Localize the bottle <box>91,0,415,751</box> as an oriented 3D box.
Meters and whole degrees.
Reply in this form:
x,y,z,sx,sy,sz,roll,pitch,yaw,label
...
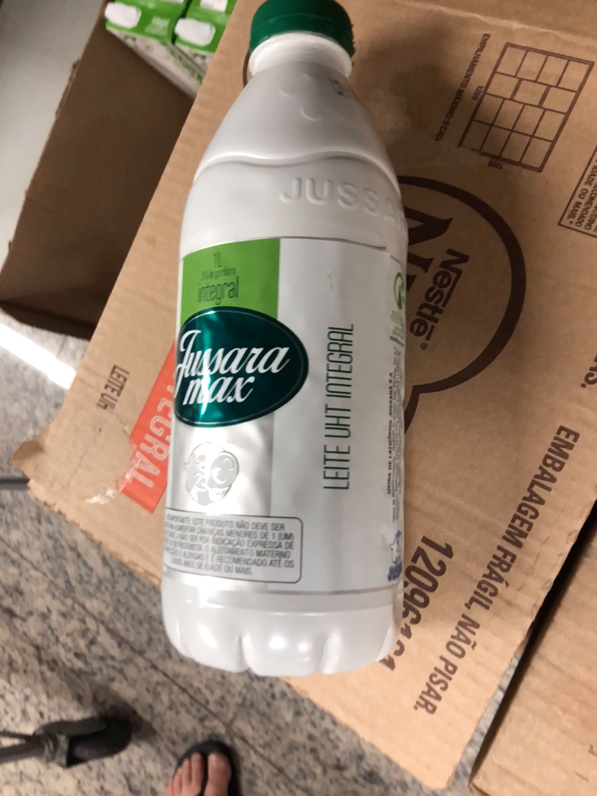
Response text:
x,y,z,sx,sy,sz,roll,pitch,yaw,label
-0.014,-0.025,0.225,0.090,0.060,0.240,-1,90,26,bottle
